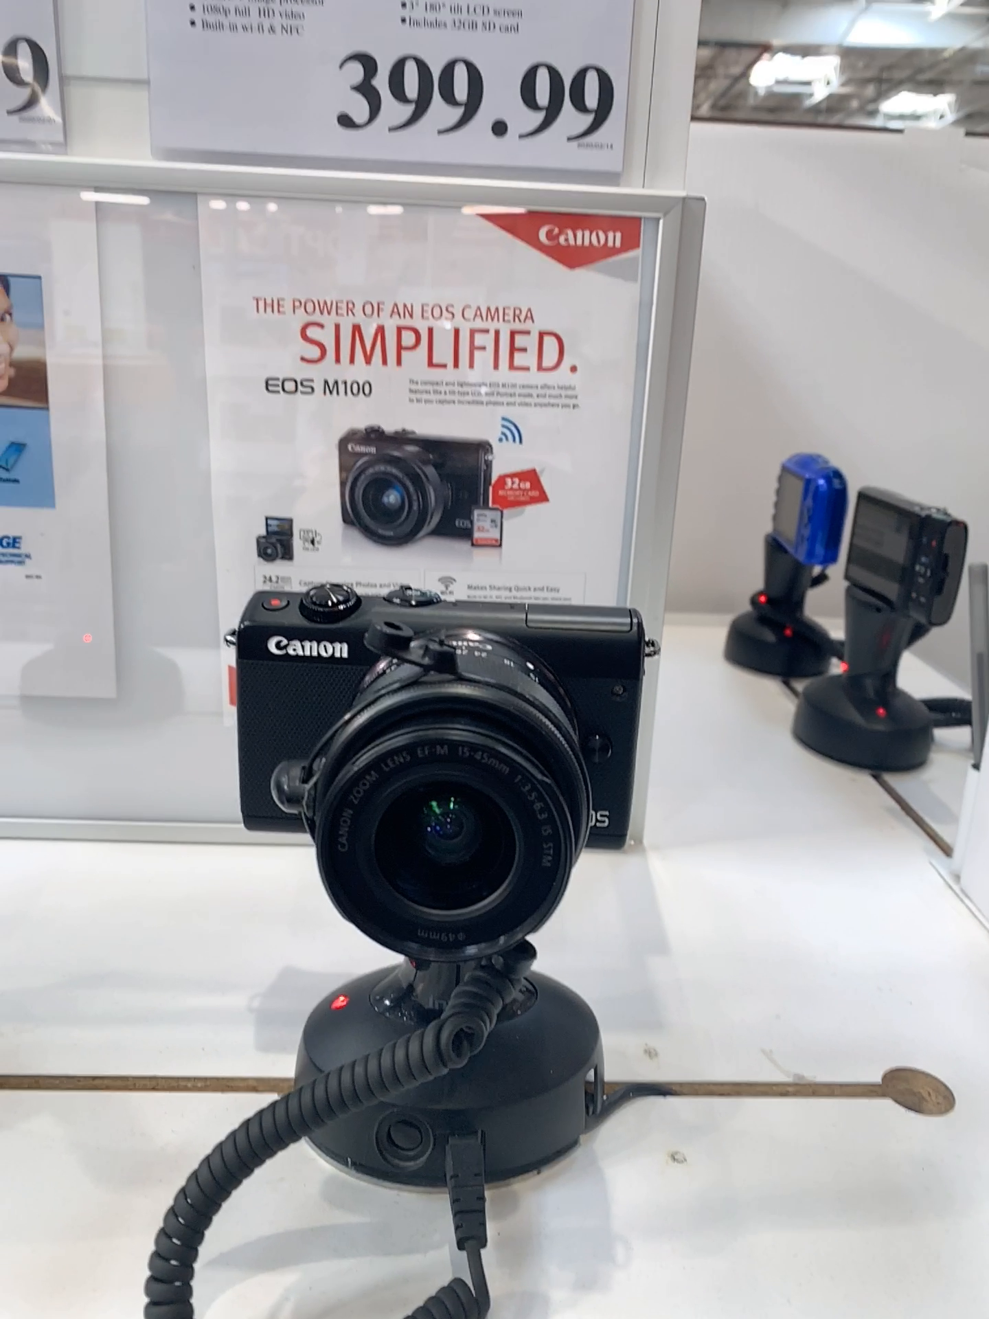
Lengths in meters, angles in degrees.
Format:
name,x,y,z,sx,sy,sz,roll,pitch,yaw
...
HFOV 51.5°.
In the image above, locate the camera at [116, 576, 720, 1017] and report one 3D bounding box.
name,x,y,z,sx,sy,sz,roll,pitch,yaw
camera,-0.014,0.023,0.237,0.110,0.066,0.093,3,12,2
